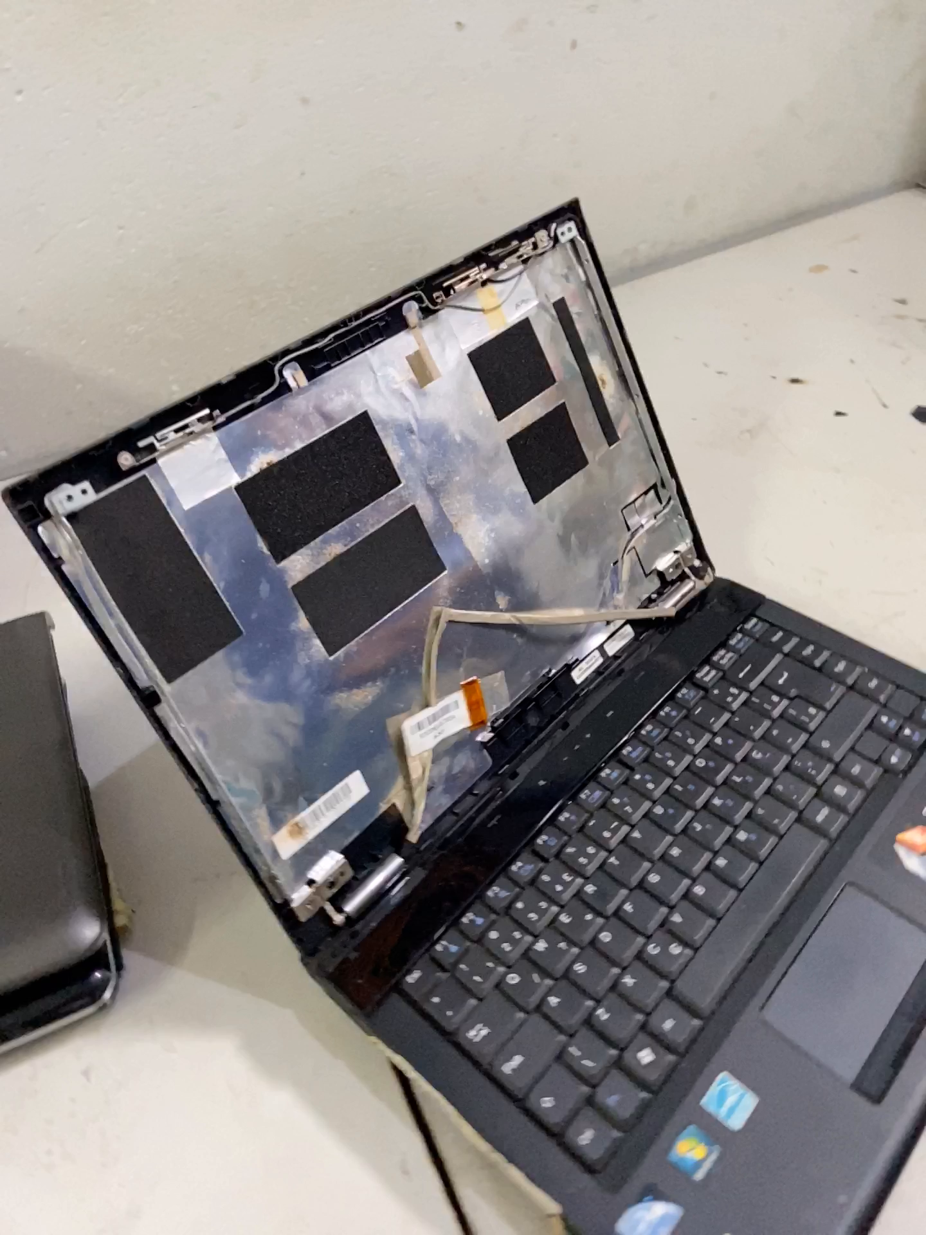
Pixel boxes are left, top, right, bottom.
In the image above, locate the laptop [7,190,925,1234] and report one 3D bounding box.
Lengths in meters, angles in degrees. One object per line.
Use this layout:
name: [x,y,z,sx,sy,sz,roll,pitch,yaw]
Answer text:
laptop: [0.081,0.014,0.405,0.336,0.206,0.334,31,55,31]
